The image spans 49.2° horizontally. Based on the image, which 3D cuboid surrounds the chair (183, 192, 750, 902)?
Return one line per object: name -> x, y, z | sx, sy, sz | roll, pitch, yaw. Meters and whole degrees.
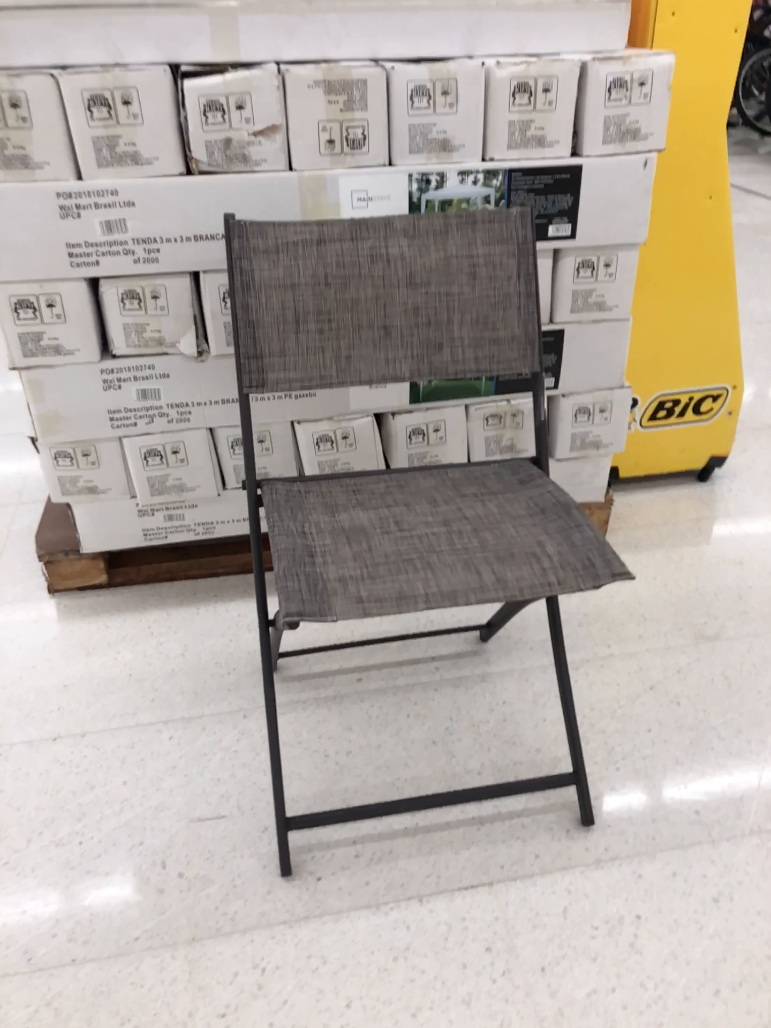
chair -> 0.040, 0.021, 1.139 | 0.510, 0.755, 0.504 | -6, 31, -9
